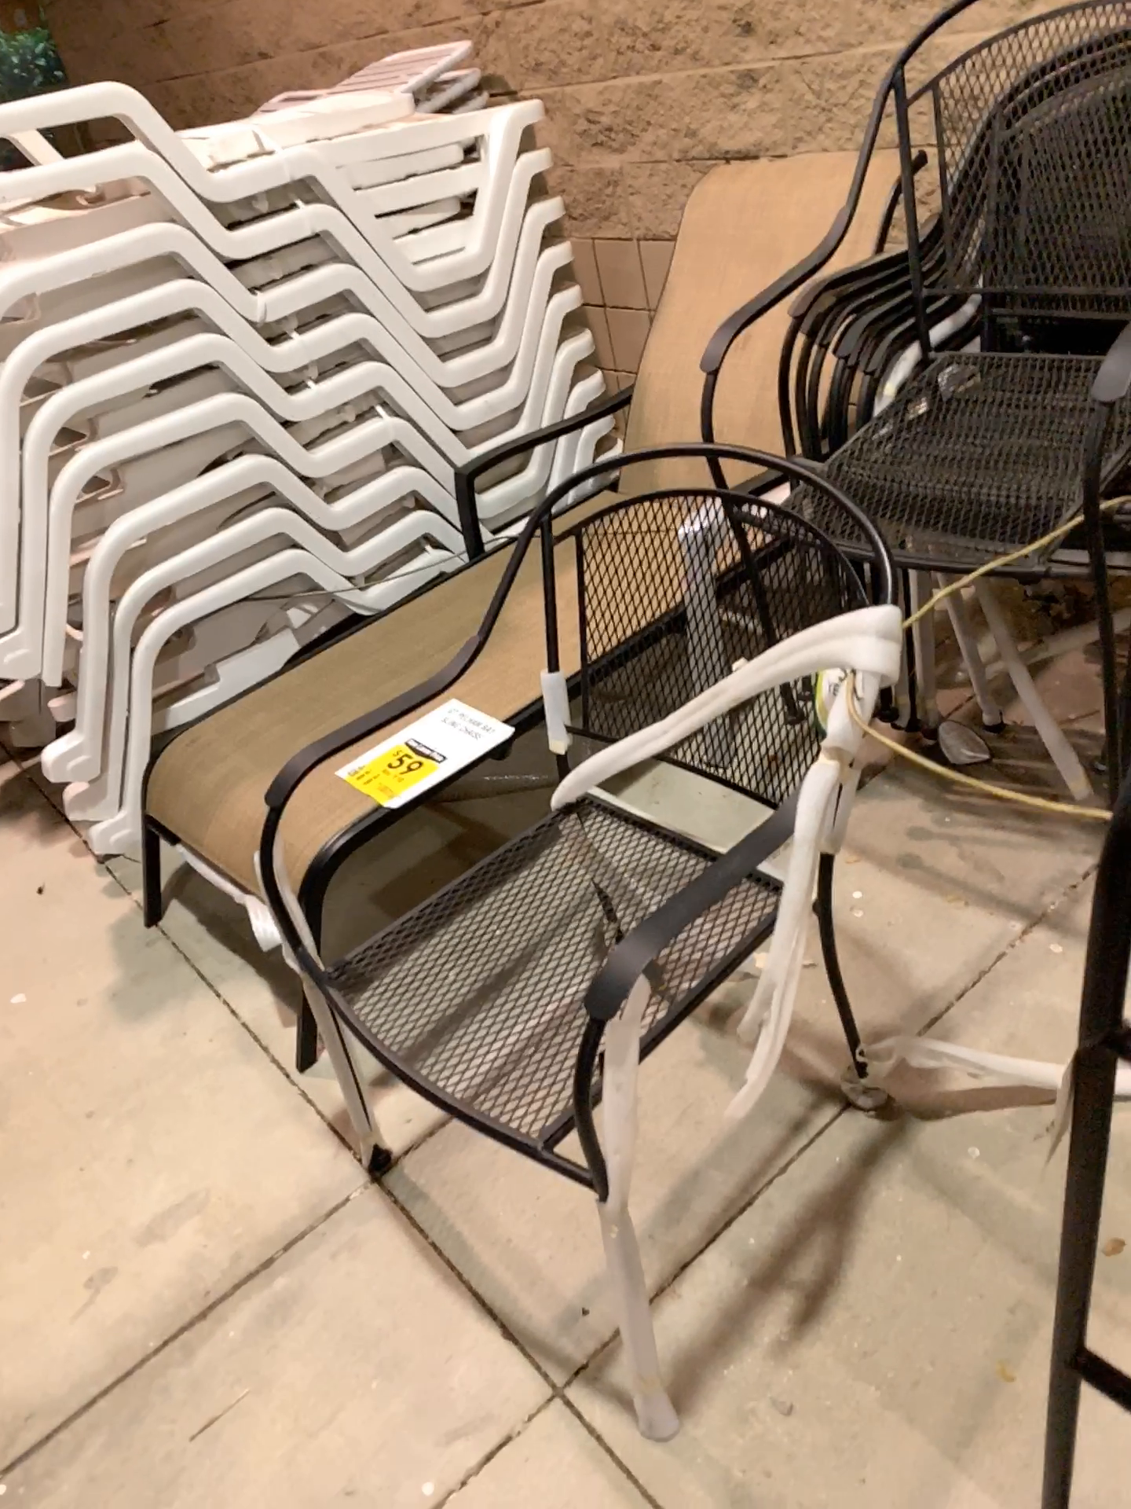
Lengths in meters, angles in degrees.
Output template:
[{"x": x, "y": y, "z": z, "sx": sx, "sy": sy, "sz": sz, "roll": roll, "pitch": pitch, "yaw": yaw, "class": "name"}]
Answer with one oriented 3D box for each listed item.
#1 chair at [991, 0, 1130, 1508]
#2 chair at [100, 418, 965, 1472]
[{"x": 0.779, "y": 0.227, "z": 0.764, "sx": 0.709, "sy": 1.128, "sz": 0.637, "roll": -33, "pitch": 38, "yaw": -28, "class": "chair"}, {"x": 0.039, "y": 0.169, "z": 1.351, "sx": 0.639, "sy": 0.870, "sz": 0.576, "roll": -35, "pitch": 39, "yaw": -31, "class": "chair"}]
